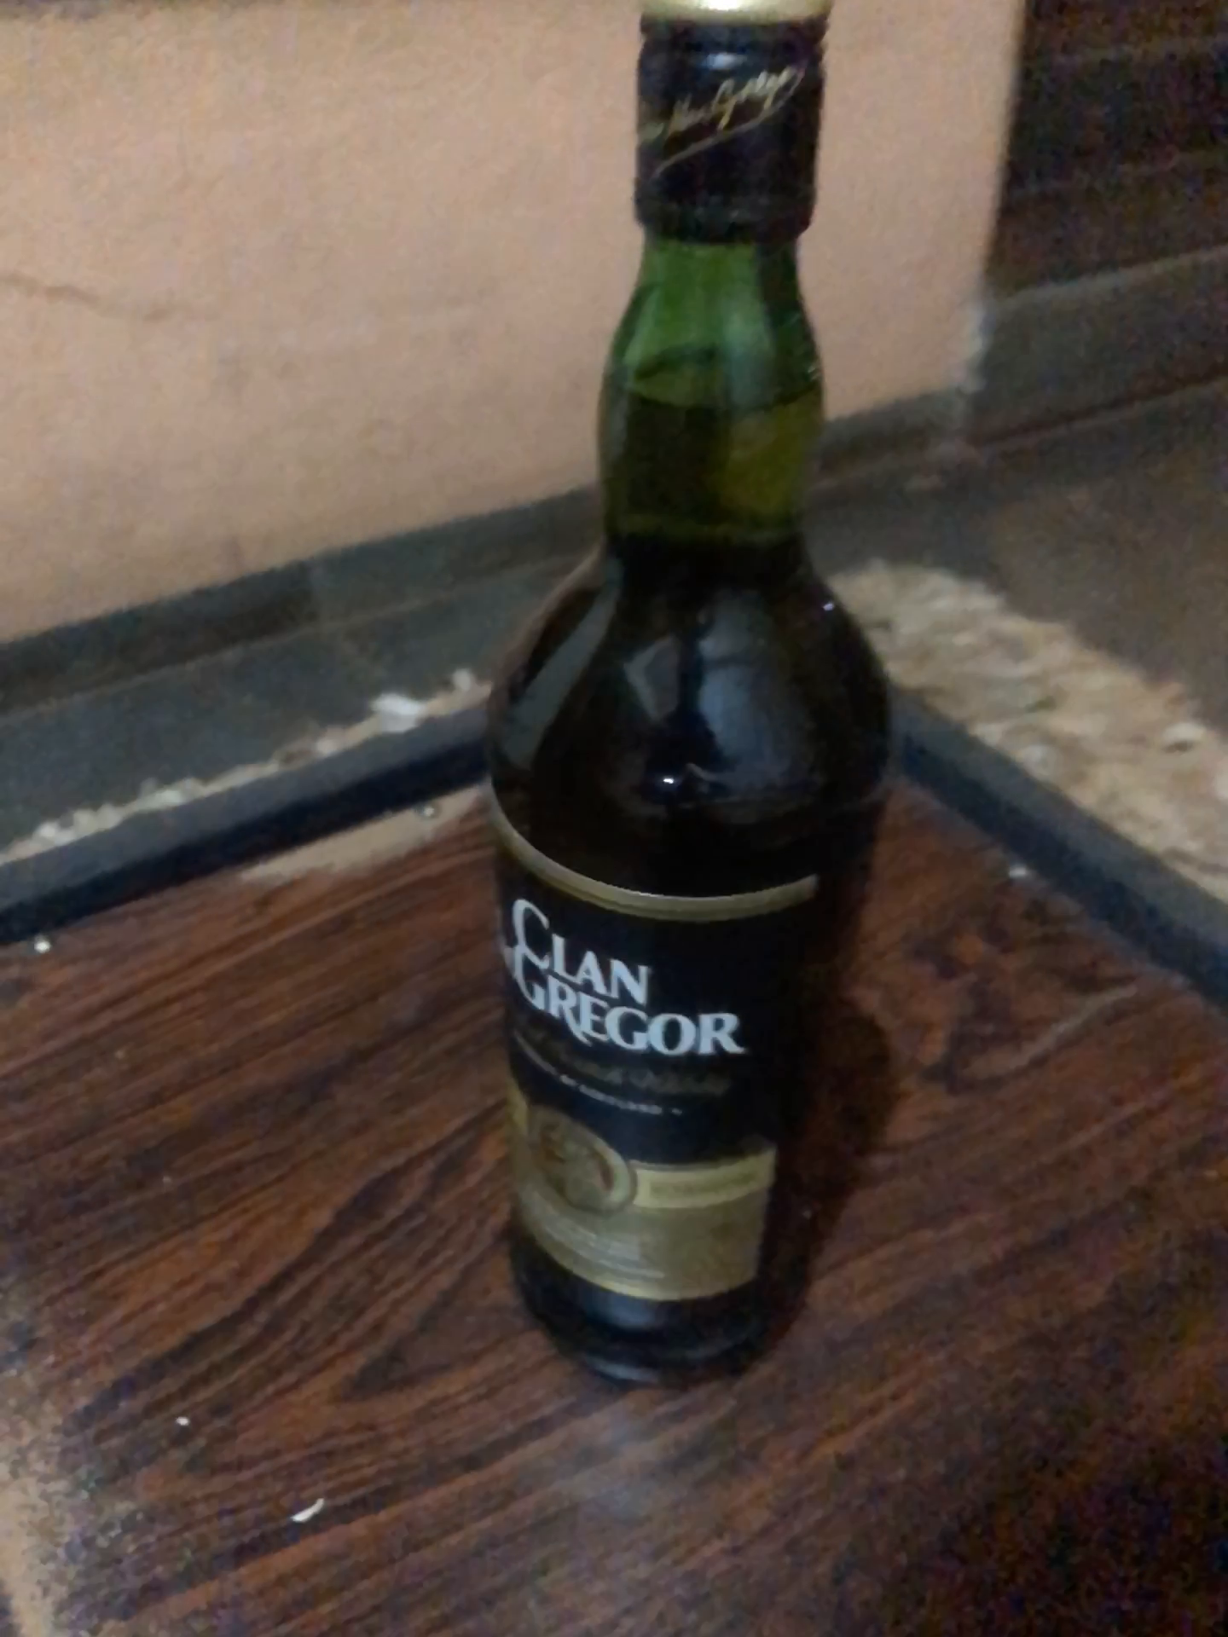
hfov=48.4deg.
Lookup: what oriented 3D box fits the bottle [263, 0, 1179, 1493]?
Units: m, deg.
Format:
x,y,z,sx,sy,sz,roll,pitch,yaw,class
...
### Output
x,y,z,sx,sy,sz,roll,pitch,yaw,class
0.018,0.004,0.303,0.100,0.308,0.101,0,38,0,bottle
